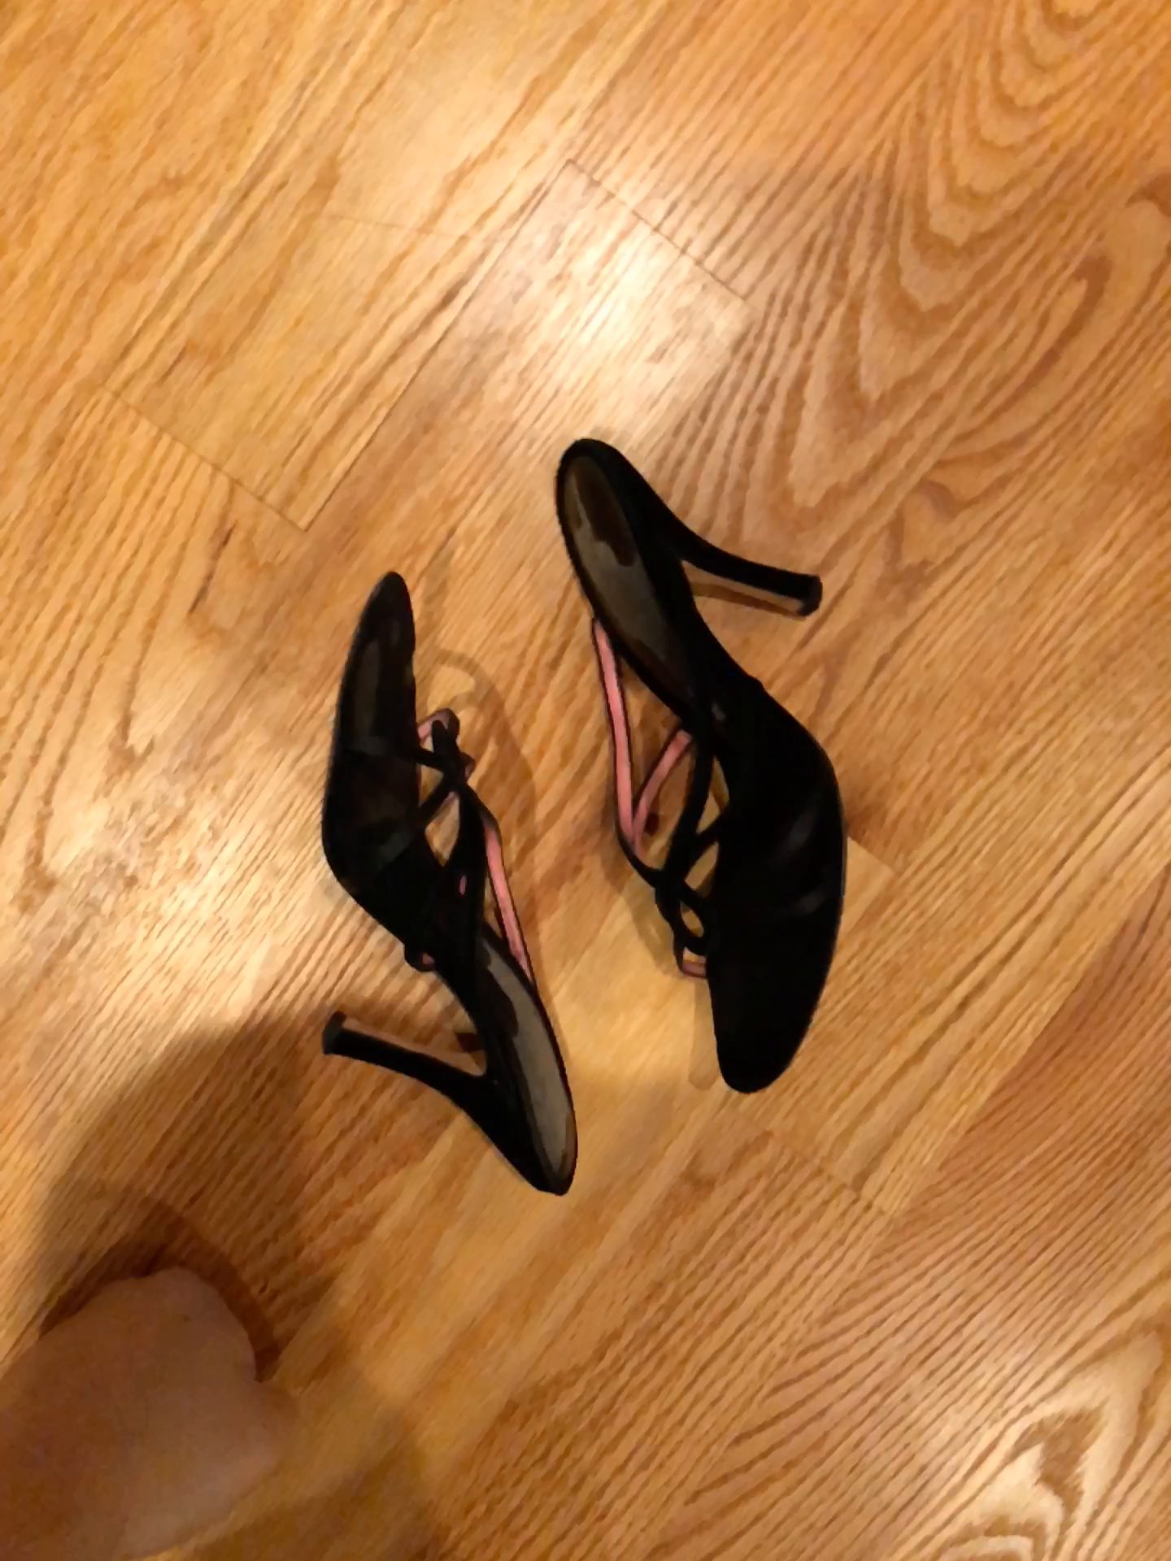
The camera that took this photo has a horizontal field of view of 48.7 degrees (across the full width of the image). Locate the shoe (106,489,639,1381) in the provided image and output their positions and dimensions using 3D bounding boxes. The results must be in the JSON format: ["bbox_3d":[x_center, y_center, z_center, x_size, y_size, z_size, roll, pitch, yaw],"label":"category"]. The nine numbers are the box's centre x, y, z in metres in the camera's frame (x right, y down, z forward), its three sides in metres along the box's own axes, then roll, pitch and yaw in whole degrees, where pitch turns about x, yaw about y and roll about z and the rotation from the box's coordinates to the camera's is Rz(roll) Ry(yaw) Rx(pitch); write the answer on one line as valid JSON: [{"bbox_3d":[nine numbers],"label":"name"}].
[{"bbox_3d":[-0.060,0.041,0.404,0.082,0.104,0.235,-16,98,-5],"label":"shoe"}]

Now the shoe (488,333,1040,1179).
[{"bbox_3d":[0.049,-0.009,0.409,0.102,0.104,0.215,-17,98,-3],"label":"shoe"}]
